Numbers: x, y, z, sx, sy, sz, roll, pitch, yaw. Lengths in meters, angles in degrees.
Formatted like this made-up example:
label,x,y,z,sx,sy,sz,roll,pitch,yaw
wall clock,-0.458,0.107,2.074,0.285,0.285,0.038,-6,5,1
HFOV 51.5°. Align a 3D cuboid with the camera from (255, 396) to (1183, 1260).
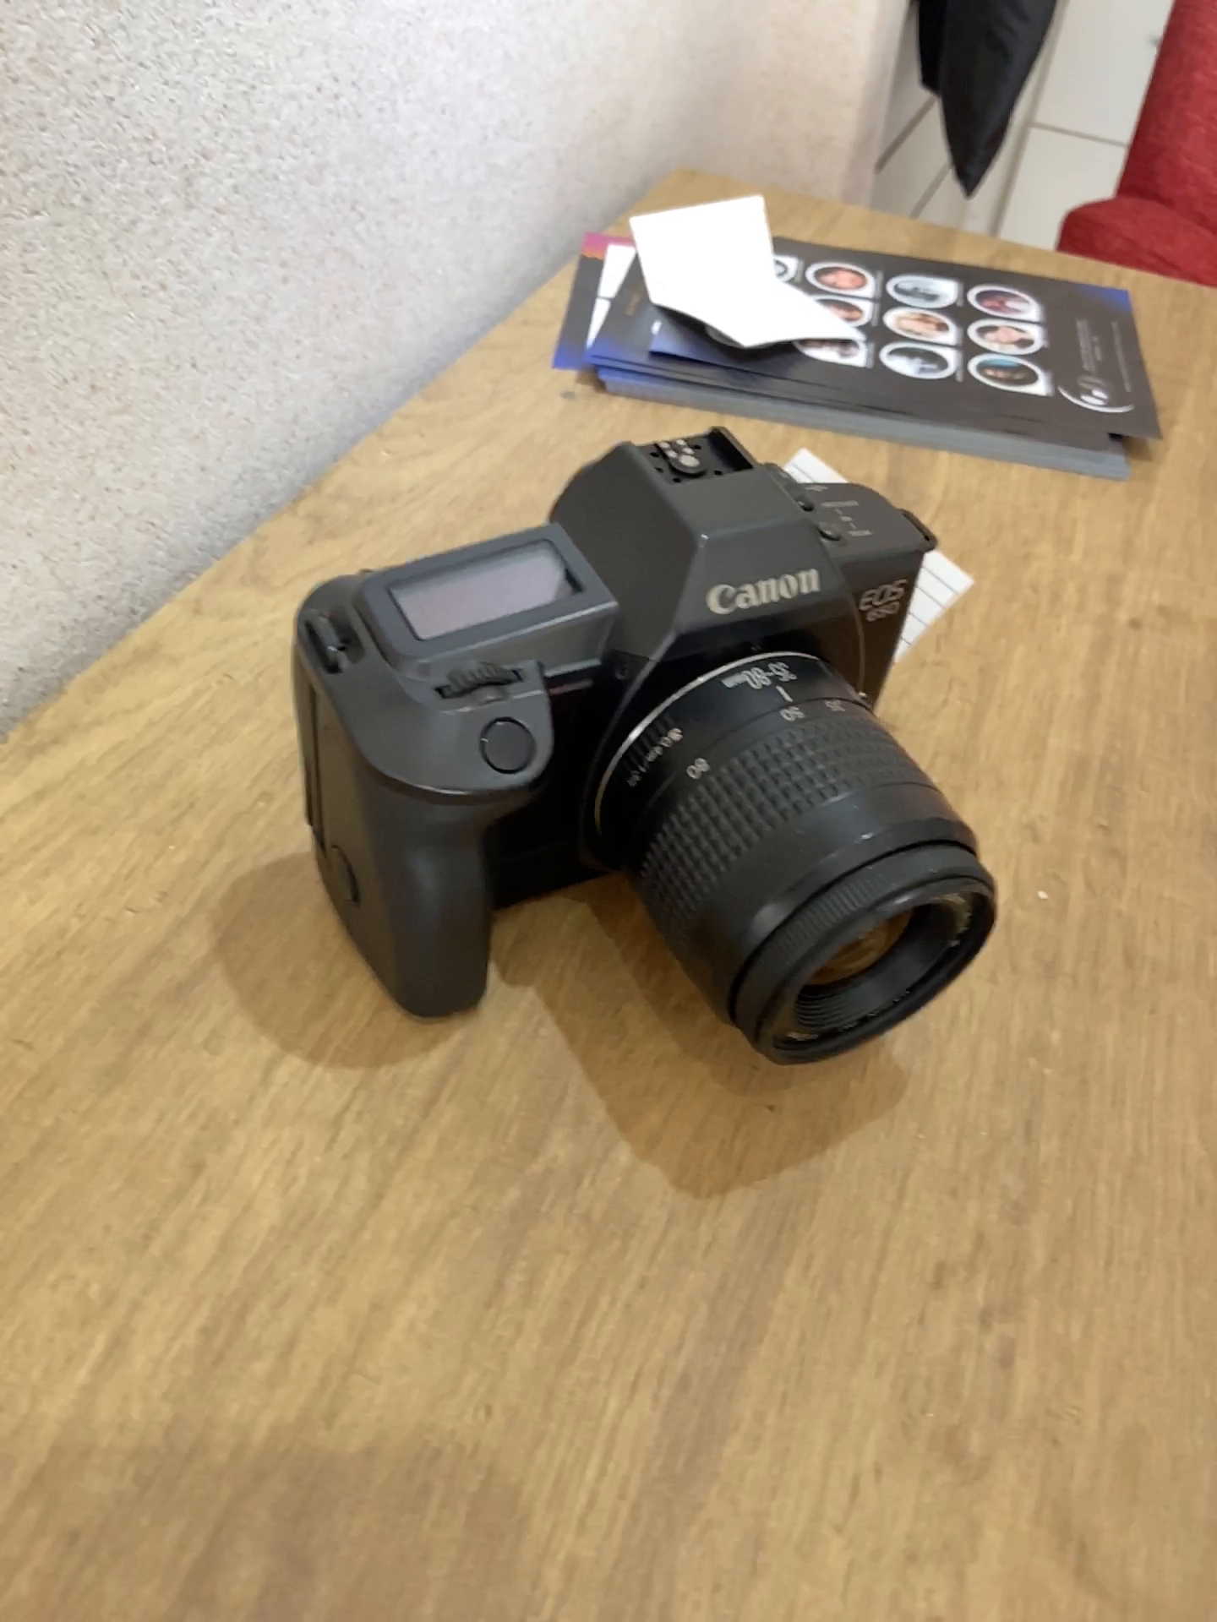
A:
label,x,y,z,sx,sy,sz,roll,pitch,yaw
camera,0.014,-0.008,0.297,0.140,0.099,0.141,-19,49,-23
